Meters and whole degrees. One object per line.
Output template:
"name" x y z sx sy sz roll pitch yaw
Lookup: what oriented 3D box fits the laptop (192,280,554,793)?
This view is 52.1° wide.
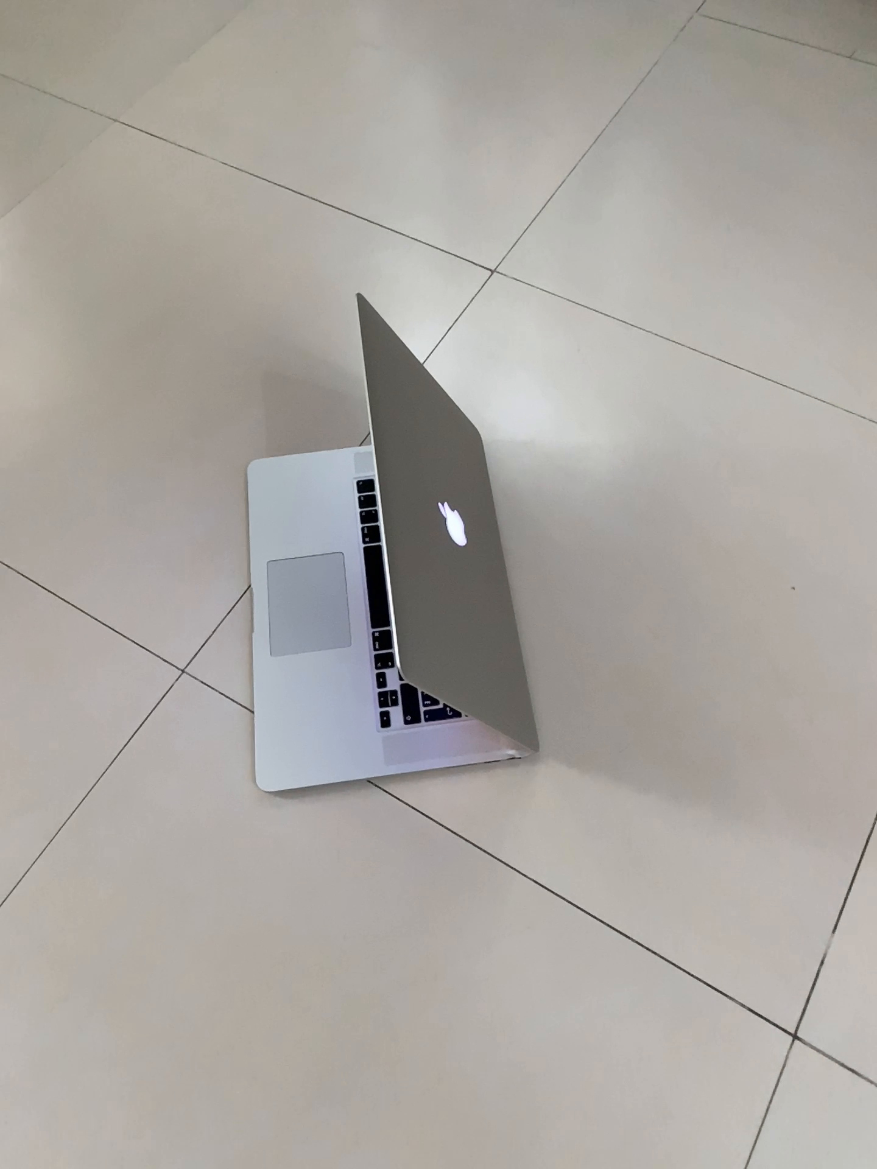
"laptop" -0.063 -0.040 0.771 0.241 0.208 0.360 -7 62 -2
